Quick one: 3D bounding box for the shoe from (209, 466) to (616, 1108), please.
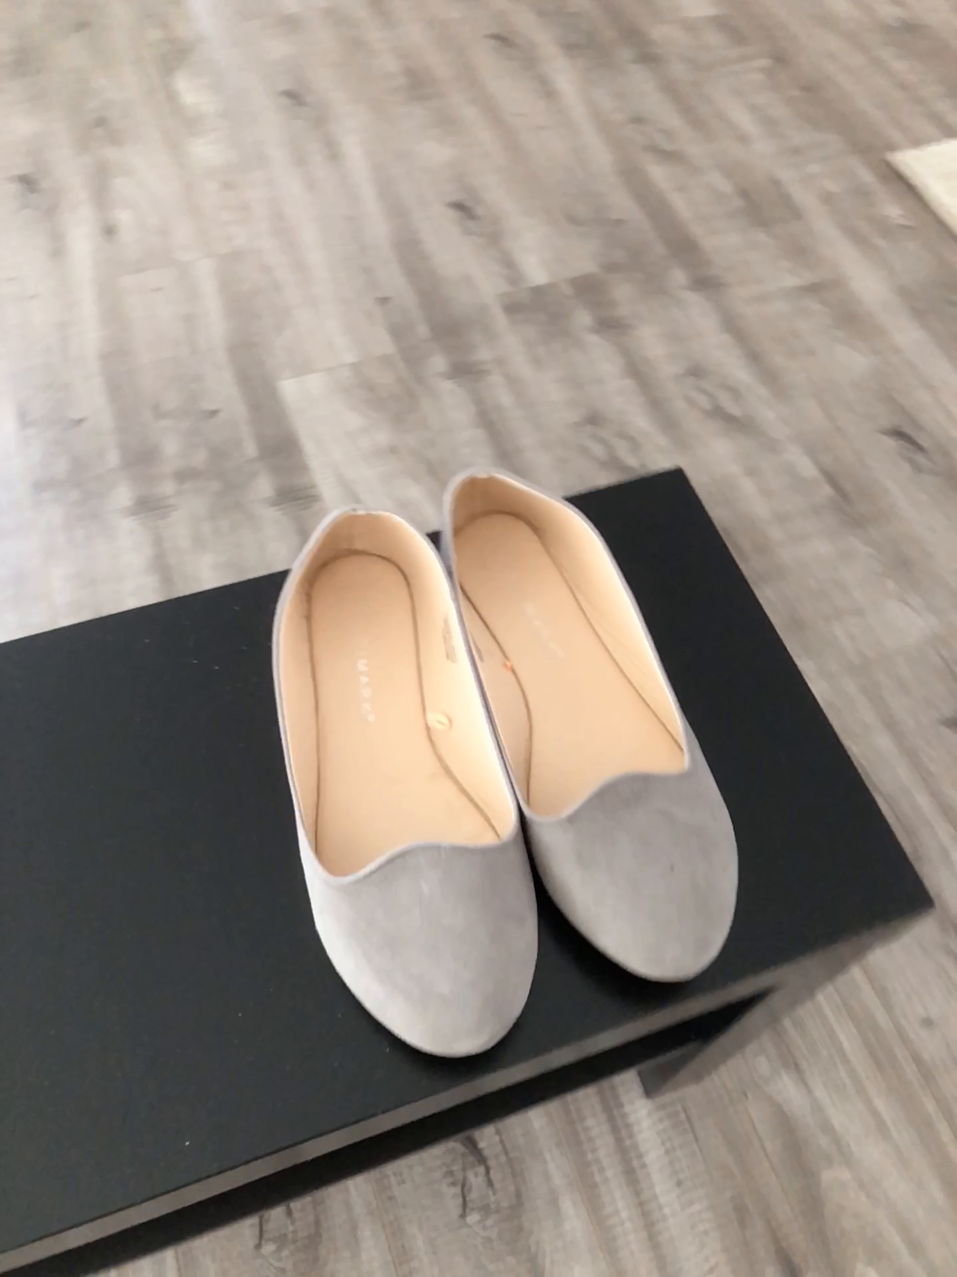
[{"bbox_3d":[-0.038,0.049,0.447,0.100,0.060,0.251,-14,59,-10],"label":"shoe"}]

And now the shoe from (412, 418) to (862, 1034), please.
[{"bbox_3d":[0.053,0.025,0.465,0.100,0.060,0.257,-14,59,-10],"label":"shoe"}]
